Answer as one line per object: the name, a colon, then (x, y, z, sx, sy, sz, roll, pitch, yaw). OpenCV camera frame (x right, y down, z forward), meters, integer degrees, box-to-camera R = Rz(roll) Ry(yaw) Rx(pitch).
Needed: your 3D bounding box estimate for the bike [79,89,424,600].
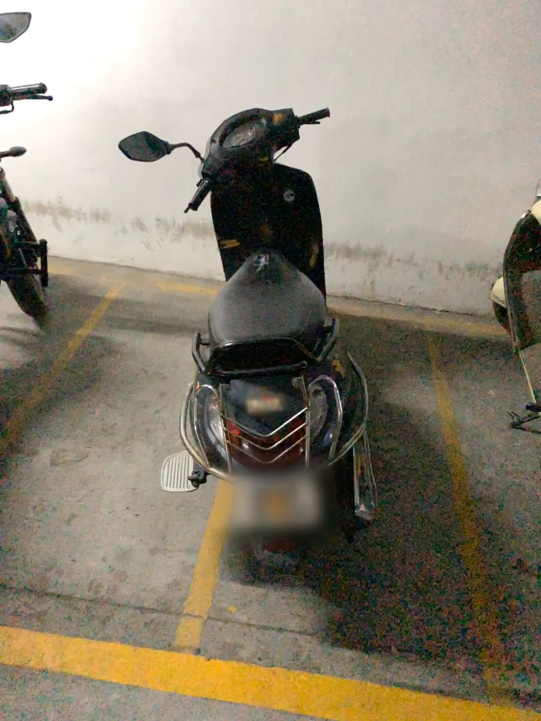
bike: (-0.121, -0.175, 2.032, 0.652, 1.239, 1.539, 2, 35, -5)
